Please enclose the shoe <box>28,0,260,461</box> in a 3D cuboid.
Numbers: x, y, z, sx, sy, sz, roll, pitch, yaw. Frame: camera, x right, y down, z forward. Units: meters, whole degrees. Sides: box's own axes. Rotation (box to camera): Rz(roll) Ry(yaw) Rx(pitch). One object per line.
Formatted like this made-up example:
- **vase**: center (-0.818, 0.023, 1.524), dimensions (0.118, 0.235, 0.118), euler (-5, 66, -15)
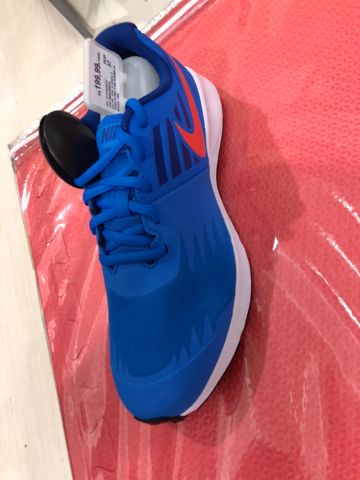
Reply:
- **shoe**: center (-0.009, -0.018, 0.280), dimensions (0.100, 0.100, 0.280), euler (-7, 70, 27)
